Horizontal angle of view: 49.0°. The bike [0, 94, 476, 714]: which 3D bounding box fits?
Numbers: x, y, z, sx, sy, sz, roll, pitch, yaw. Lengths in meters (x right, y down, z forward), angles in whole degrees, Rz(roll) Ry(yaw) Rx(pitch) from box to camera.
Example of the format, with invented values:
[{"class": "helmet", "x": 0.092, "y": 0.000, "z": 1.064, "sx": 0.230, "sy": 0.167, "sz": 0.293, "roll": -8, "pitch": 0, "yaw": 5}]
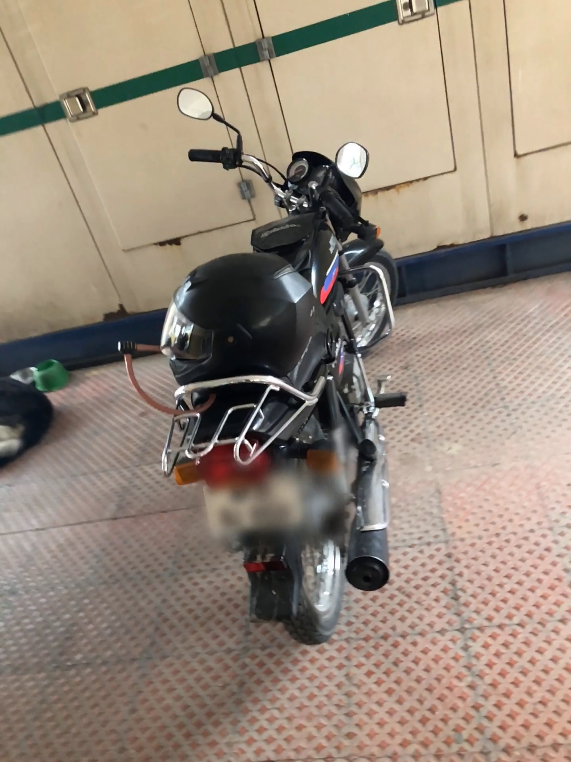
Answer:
[{"class": "bike", "x": 0.173, "y": -0.128, "z": 2.024, "sx": 0.736, "sy": 1.087, "sz": 1.866, "roll": -5, "pitch": 31, "yaw": 19}]
